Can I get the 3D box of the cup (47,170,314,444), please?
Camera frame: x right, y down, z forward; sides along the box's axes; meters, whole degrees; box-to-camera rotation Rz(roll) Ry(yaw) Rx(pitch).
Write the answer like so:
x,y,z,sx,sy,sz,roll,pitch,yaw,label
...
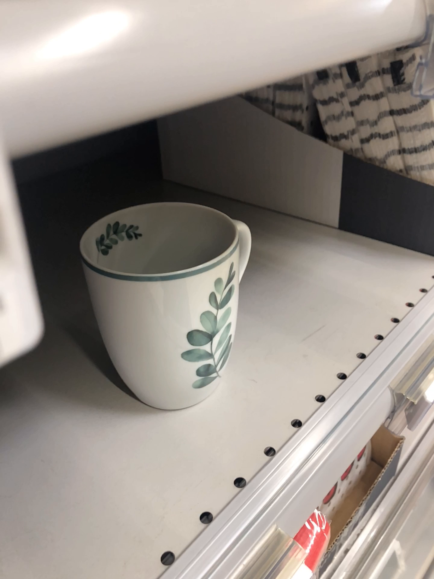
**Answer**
x,y,z,sx,sy,sz,roll,pitch,yaw,label
-0.015,0.001,0.280,0.082,0.093,0.117,27,43,36,cup
